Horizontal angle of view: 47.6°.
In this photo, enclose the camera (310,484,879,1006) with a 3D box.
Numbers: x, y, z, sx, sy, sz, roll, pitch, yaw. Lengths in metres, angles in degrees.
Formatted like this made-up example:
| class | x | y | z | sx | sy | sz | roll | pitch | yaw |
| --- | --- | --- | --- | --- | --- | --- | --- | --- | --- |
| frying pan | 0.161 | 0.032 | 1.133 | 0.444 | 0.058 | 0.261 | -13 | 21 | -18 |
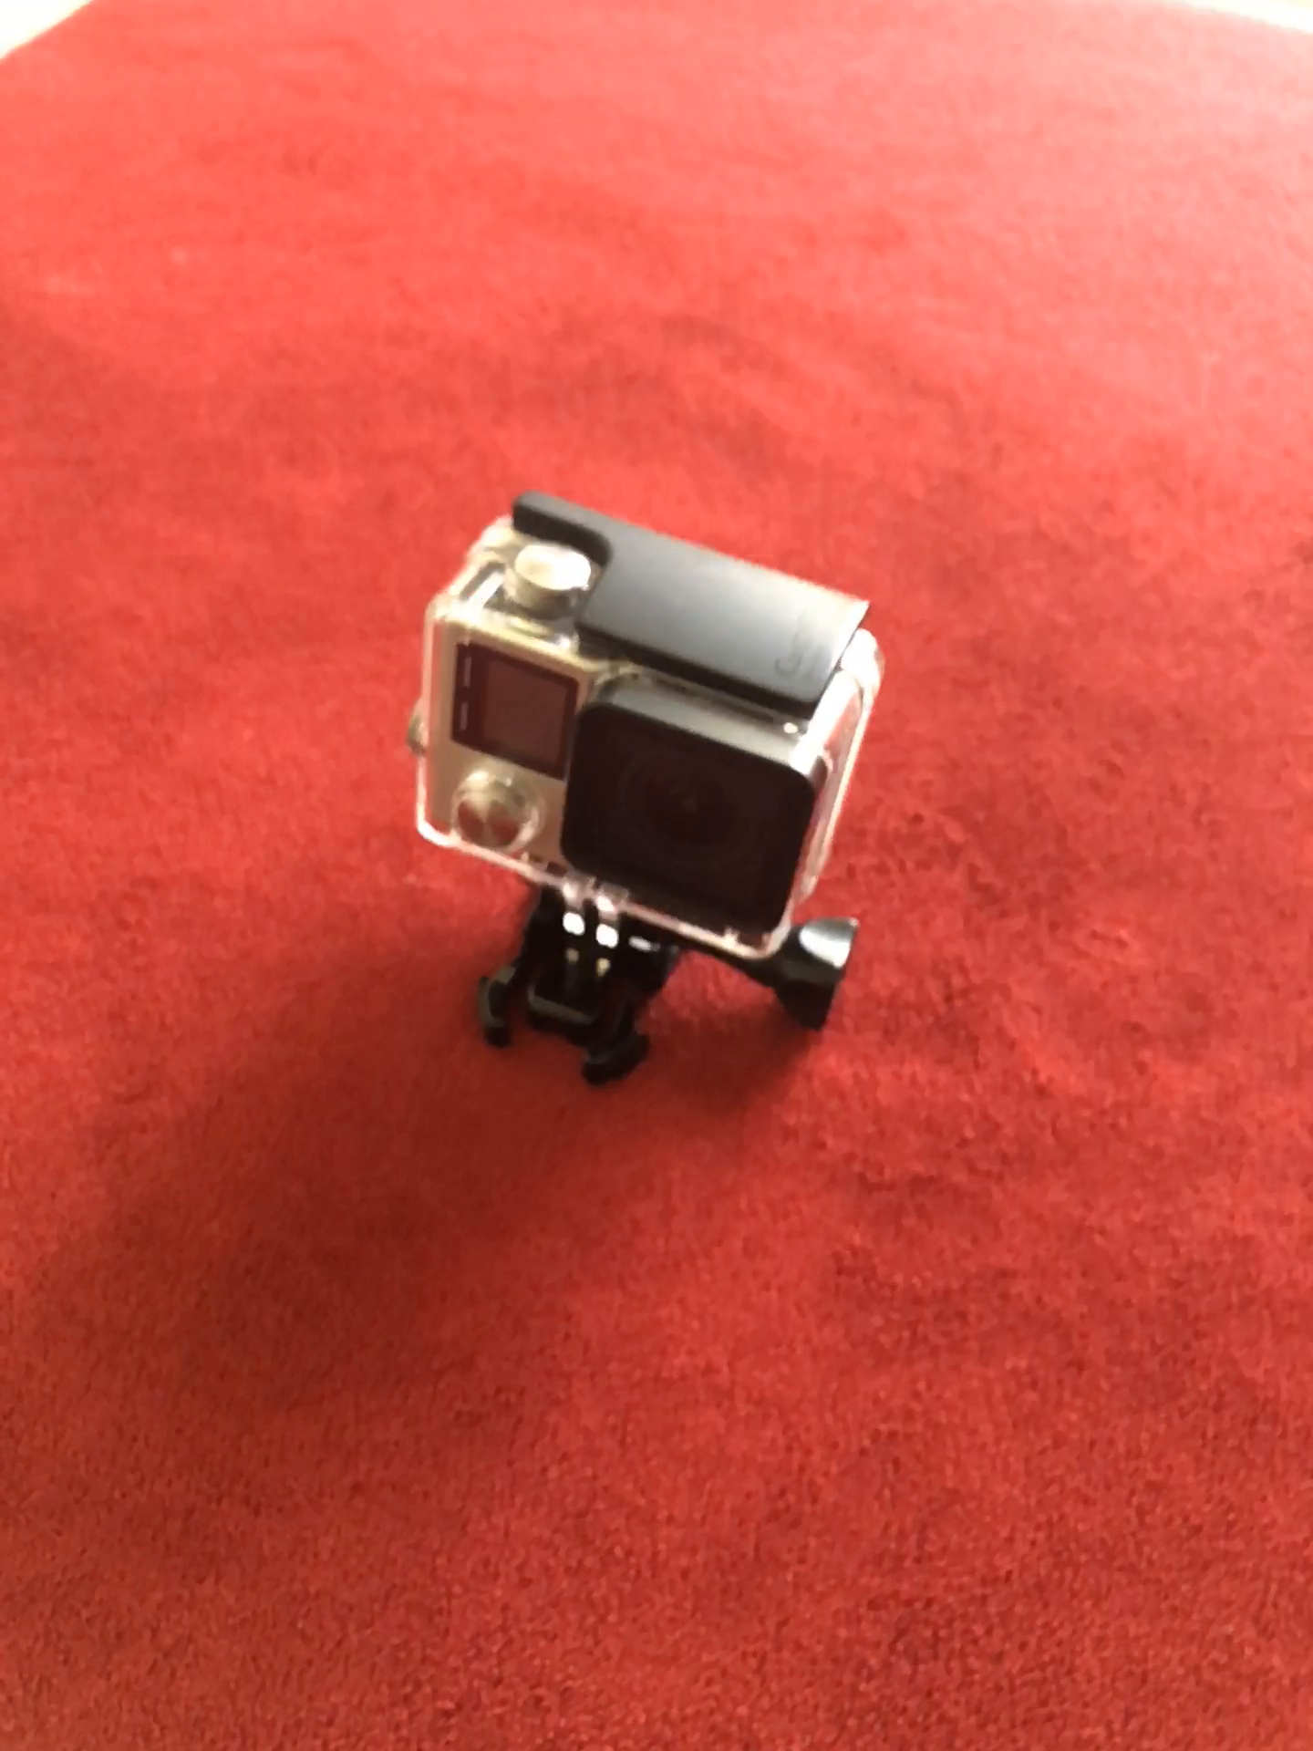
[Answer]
| class | x | y | z | sx | sy | sz | roll | pitch | yaw |
| --- | --- | --- | --- | --- | --- | --- | --- | --- | --- |
| camera | -0.010 | -0.021 | 0.231 | 0.072 | 0.050 | 0.040 | 17 | 44 | 12 |
